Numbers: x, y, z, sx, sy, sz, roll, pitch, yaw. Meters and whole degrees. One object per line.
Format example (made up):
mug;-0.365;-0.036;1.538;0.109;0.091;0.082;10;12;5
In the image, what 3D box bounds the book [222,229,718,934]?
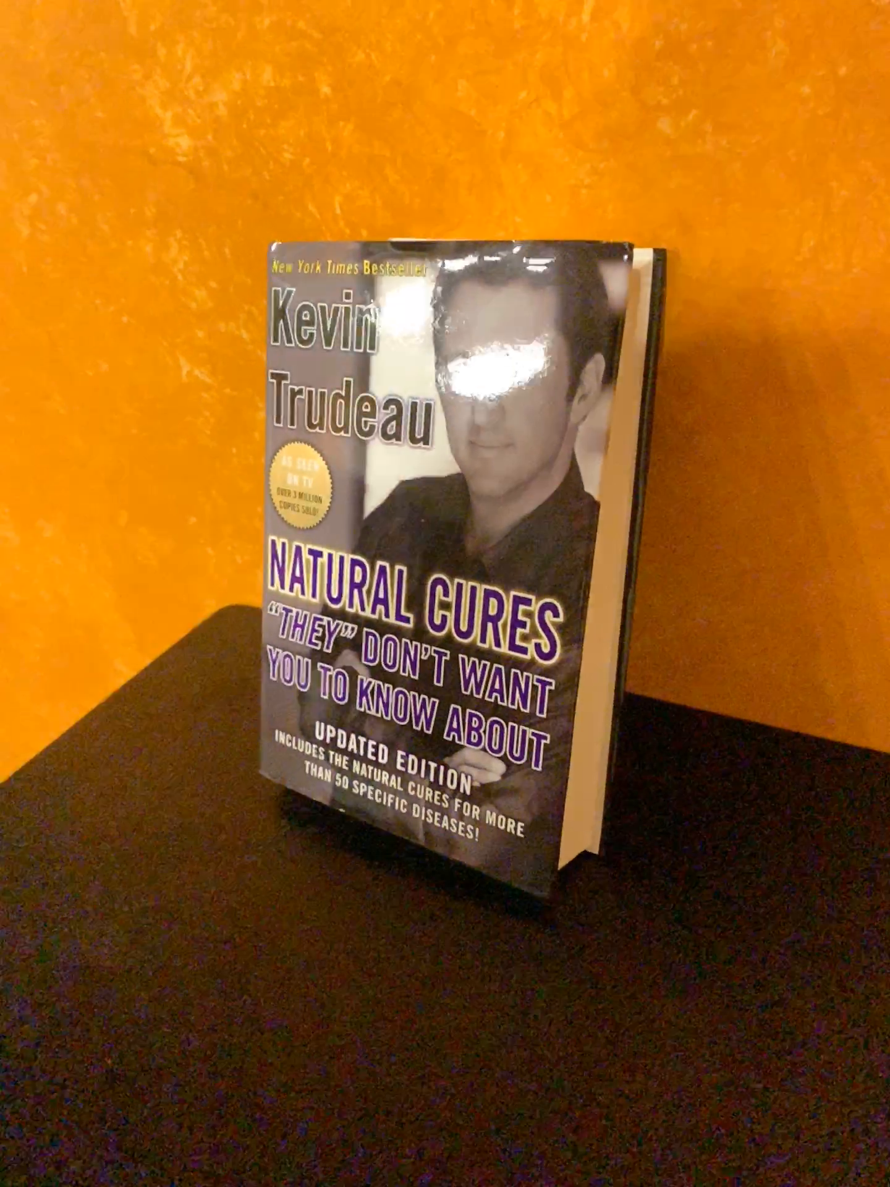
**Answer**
book;-0.005;-0.015;0.361;0.181;0.229;0.050;13;16;33
